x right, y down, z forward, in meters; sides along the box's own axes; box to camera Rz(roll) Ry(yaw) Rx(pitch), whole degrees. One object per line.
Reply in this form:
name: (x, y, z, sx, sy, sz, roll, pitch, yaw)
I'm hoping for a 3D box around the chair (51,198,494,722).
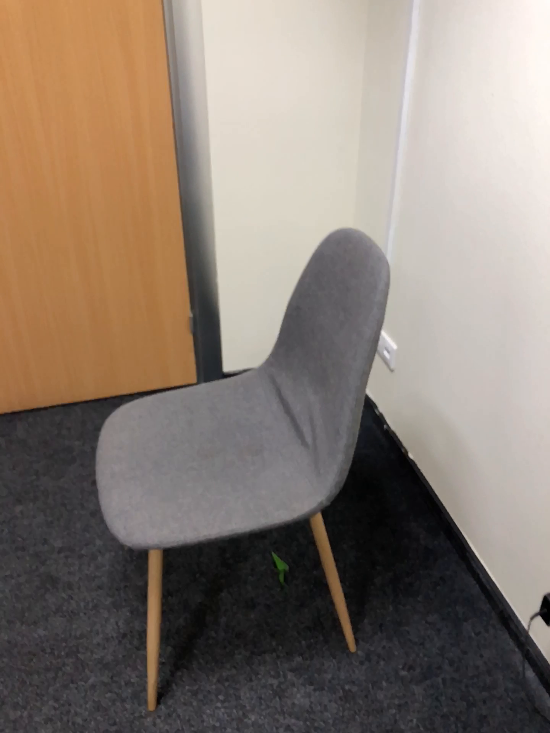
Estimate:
chair: (-0.044, 0.158, 1.184, 0.601, 0.785, 0.472, -10, 34, -15)
